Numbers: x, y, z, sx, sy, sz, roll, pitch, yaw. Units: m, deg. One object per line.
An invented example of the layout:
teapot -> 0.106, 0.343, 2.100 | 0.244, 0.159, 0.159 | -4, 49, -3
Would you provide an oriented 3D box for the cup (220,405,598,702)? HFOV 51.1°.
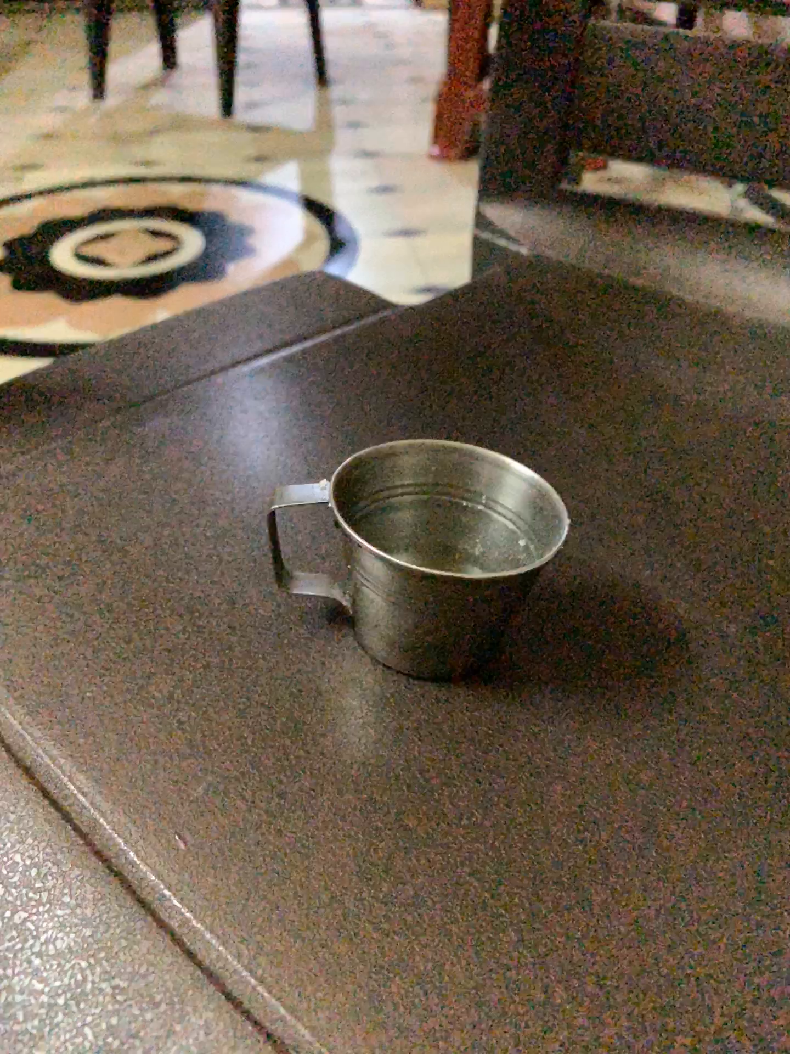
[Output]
cup -> 0.003, 0.005, 0.210 | 0.080, 0.040, 0.060 | 4, 40, -1
